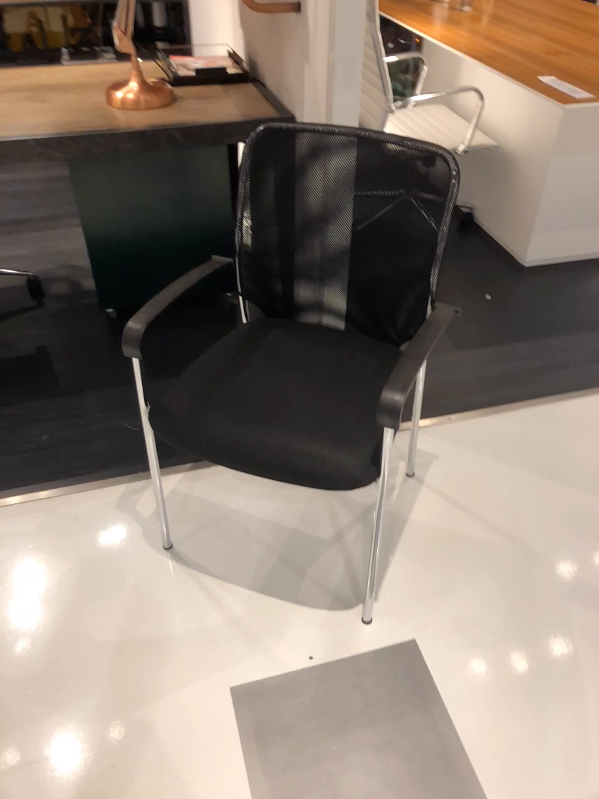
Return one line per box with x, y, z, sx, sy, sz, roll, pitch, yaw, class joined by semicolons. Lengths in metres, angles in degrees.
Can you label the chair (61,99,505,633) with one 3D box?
0.002;-0.069;1.371;0.590;0.863;0.514;15;41;17;chair
